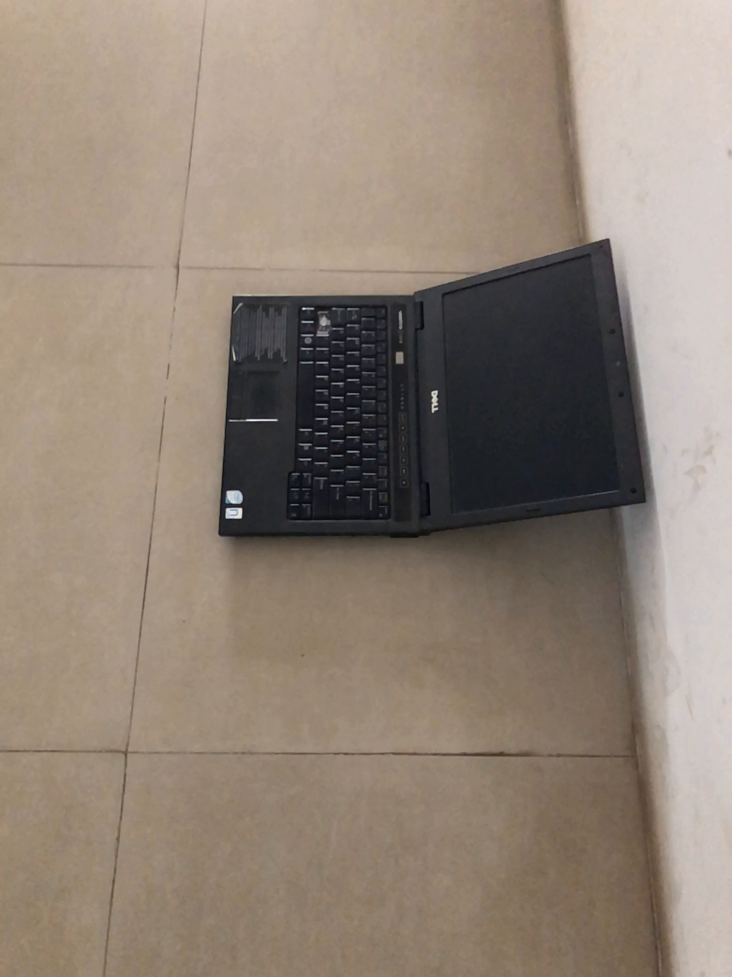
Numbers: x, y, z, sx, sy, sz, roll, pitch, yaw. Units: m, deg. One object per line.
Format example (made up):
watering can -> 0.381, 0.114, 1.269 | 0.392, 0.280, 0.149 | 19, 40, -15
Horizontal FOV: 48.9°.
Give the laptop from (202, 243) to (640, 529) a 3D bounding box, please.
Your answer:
laptop -> 0.054, -0.114, 0.901 | 0.432, 0.114, 0.300 | 0, 68, -1
